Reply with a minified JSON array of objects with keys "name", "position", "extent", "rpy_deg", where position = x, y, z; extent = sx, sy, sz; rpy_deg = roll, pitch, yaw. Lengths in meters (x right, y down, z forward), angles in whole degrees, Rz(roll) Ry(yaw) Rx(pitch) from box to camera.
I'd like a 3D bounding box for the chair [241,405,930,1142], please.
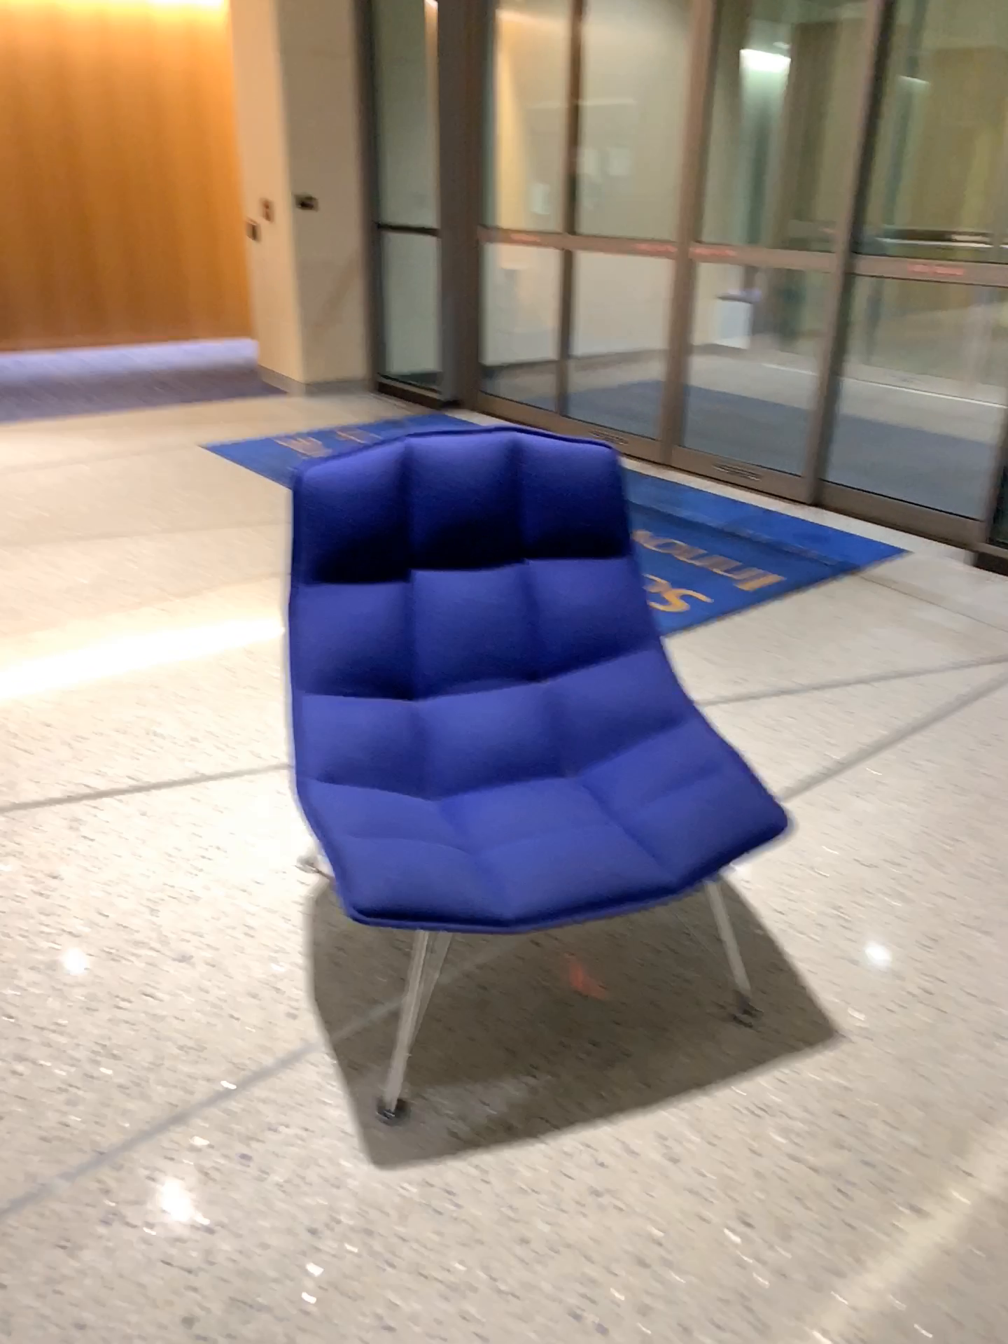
[{"name":"chair","position":[0.050,0.079,1.823],"extent":[0.855,0.894,0.800],"rpy_deg":[-7,26,-17]}]
